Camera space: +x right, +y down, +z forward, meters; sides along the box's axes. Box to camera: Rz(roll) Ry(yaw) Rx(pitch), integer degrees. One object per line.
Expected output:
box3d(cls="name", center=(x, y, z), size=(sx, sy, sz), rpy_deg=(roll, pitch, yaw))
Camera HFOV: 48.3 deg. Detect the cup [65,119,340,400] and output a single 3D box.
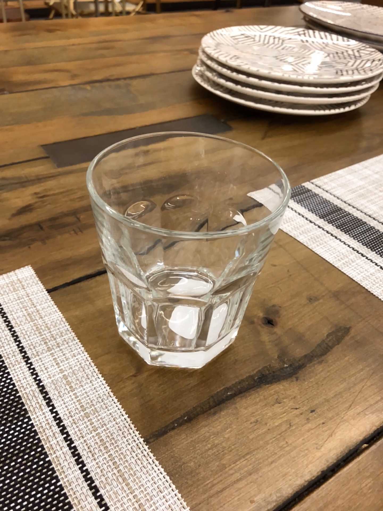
box3d(cls="cup", center=(-0.004, -0.005, 0.204), size=(0.087, 0.081, 0.090), rpy_deg=(3, 39, -3))
